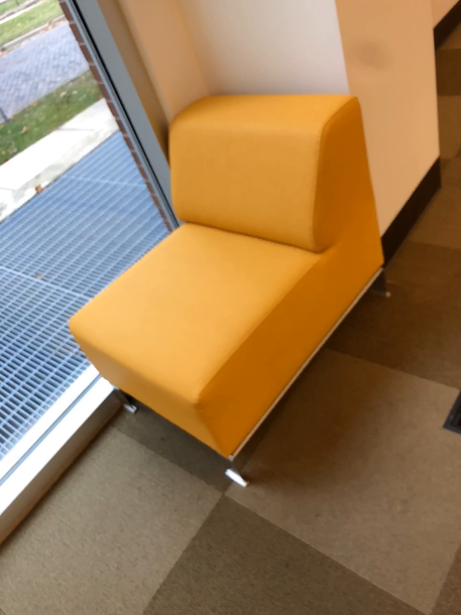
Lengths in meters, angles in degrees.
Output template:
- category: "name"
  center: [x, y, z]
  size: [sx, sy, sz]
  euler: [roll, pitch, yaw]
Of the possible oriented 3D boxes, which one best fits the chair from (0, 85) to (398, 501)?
- category: "chair"
  center: [-0.038, -0.104, 1.586]
  size: [0.664, 0.759, 0.872]
  euler: [19, 56, 40]
